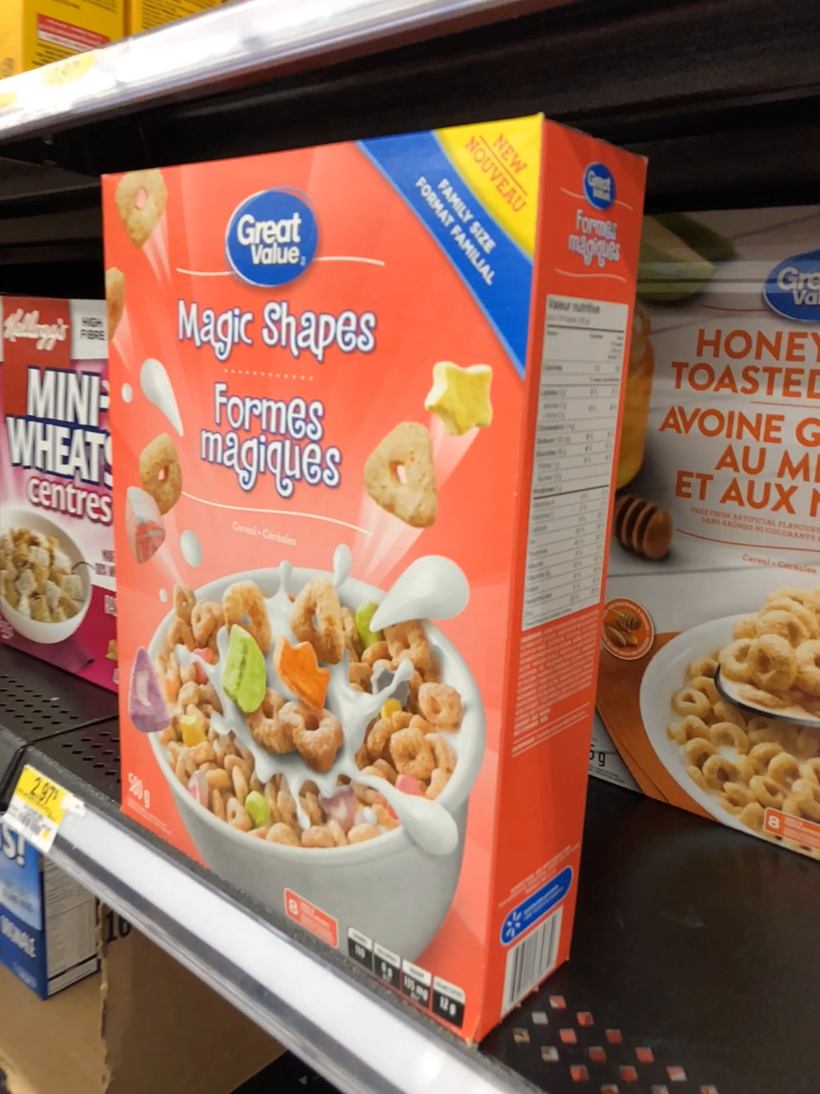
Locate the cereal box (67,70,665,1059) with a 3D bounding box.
[{"bbox_3d":[-0.040,-0.003,0.390,0.261,0.319,0.070,12,17,40],"label":"cereal box"}]
